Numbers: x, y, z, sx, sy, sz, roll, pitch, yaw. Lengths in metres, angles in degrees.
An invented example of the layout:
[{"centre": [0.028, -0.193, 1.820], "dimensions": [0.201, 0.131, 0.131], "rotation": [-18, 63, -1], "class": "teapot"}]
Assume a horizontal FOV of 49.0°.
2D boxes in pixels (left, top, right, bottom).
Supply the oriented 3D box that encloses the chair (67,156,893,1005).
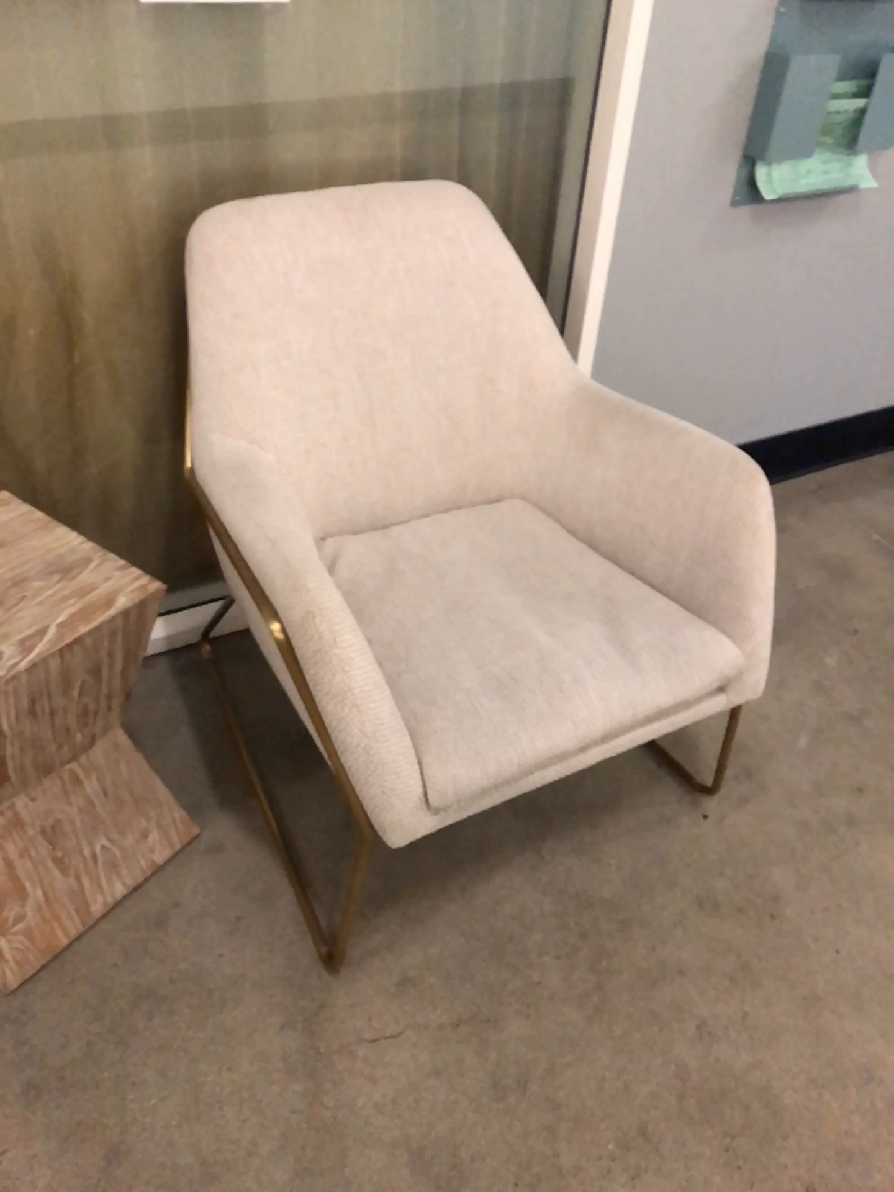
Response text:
[{"centre": [-0.002, -0.128, 1.553], "dimensions": [0.831, 0.816, 0.894], "rotation": [-16, 41, -25], "class": "chair"}]
